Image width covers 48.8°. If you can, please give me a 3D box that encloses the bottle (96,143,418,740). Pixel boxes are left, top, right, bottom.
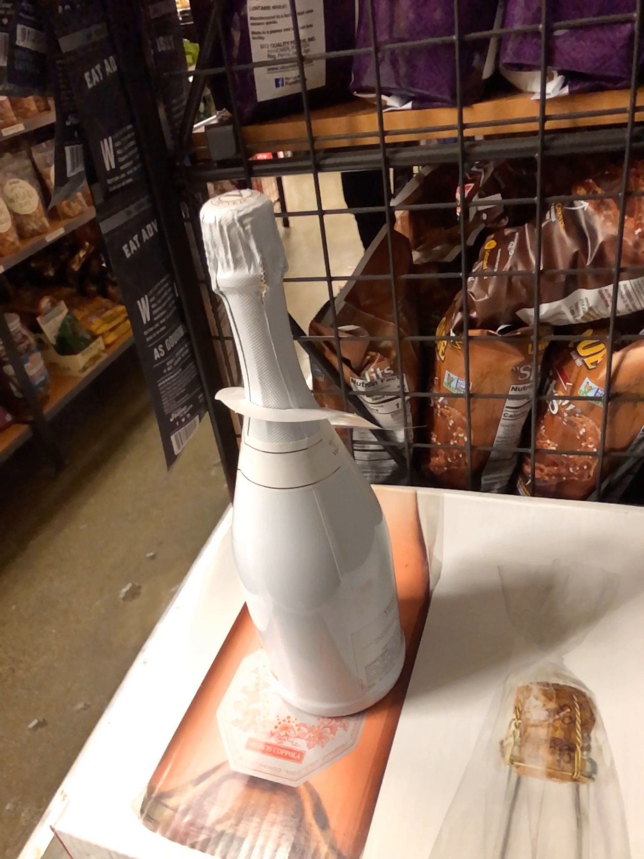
[{"bbox_3d":[-0.012,0.024,0.377,0.094,0.310,0.086,-6,32,4],"label":"bottle"}]
